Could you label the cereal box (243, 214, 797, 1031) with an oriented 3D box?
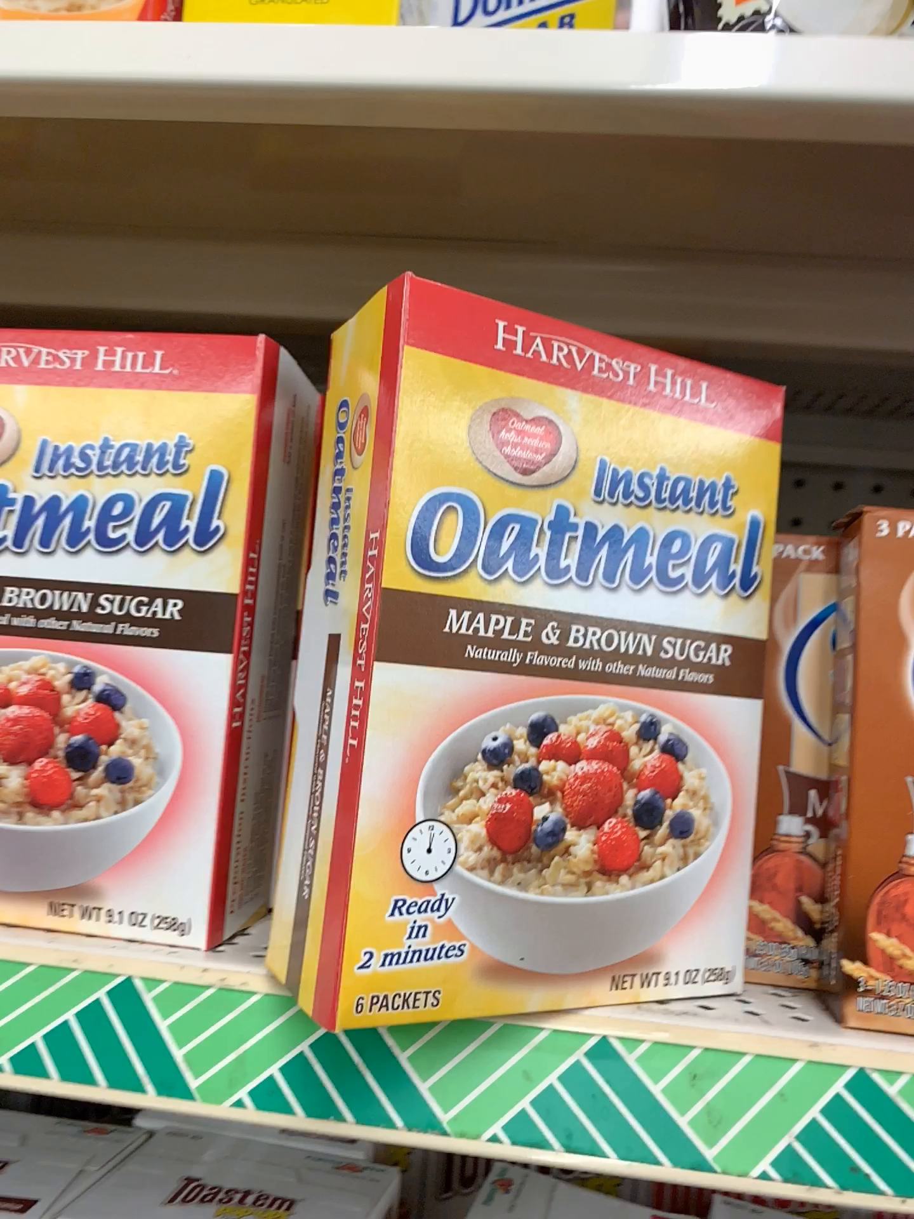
[{"bbox_3d":[0.022,0.008,0.261,0.130,0.180,0.050,8,-6,-28],"label":"cereal box"}]
